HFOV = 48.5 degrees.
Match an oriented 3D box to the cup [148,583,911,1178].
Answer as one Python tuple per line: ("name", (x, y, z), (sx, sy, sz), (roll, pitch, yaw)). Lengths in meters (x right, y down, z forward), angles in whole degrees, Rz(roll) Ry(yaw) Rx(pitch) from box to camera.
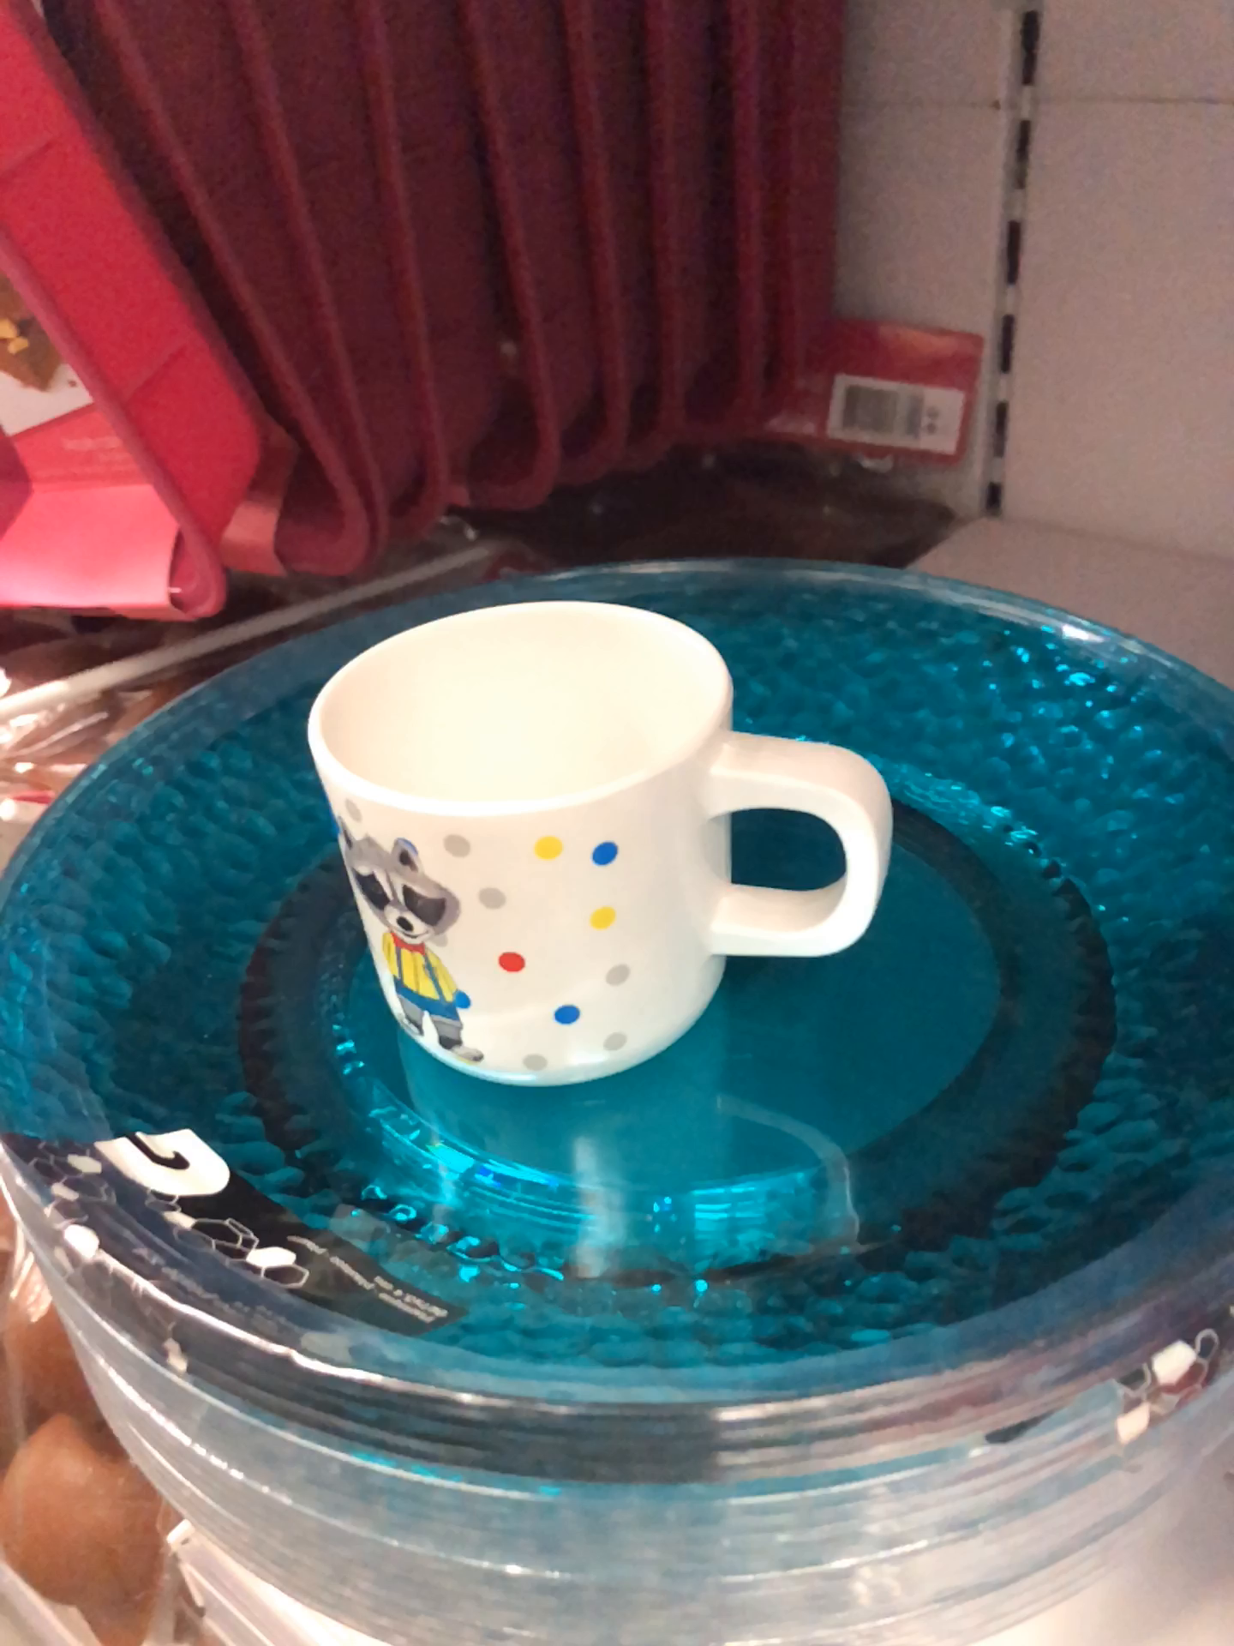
("cup", (-0.009, 0.004, 0.251), (0.109, 0.059, 0.081), (8, 35, 18))
